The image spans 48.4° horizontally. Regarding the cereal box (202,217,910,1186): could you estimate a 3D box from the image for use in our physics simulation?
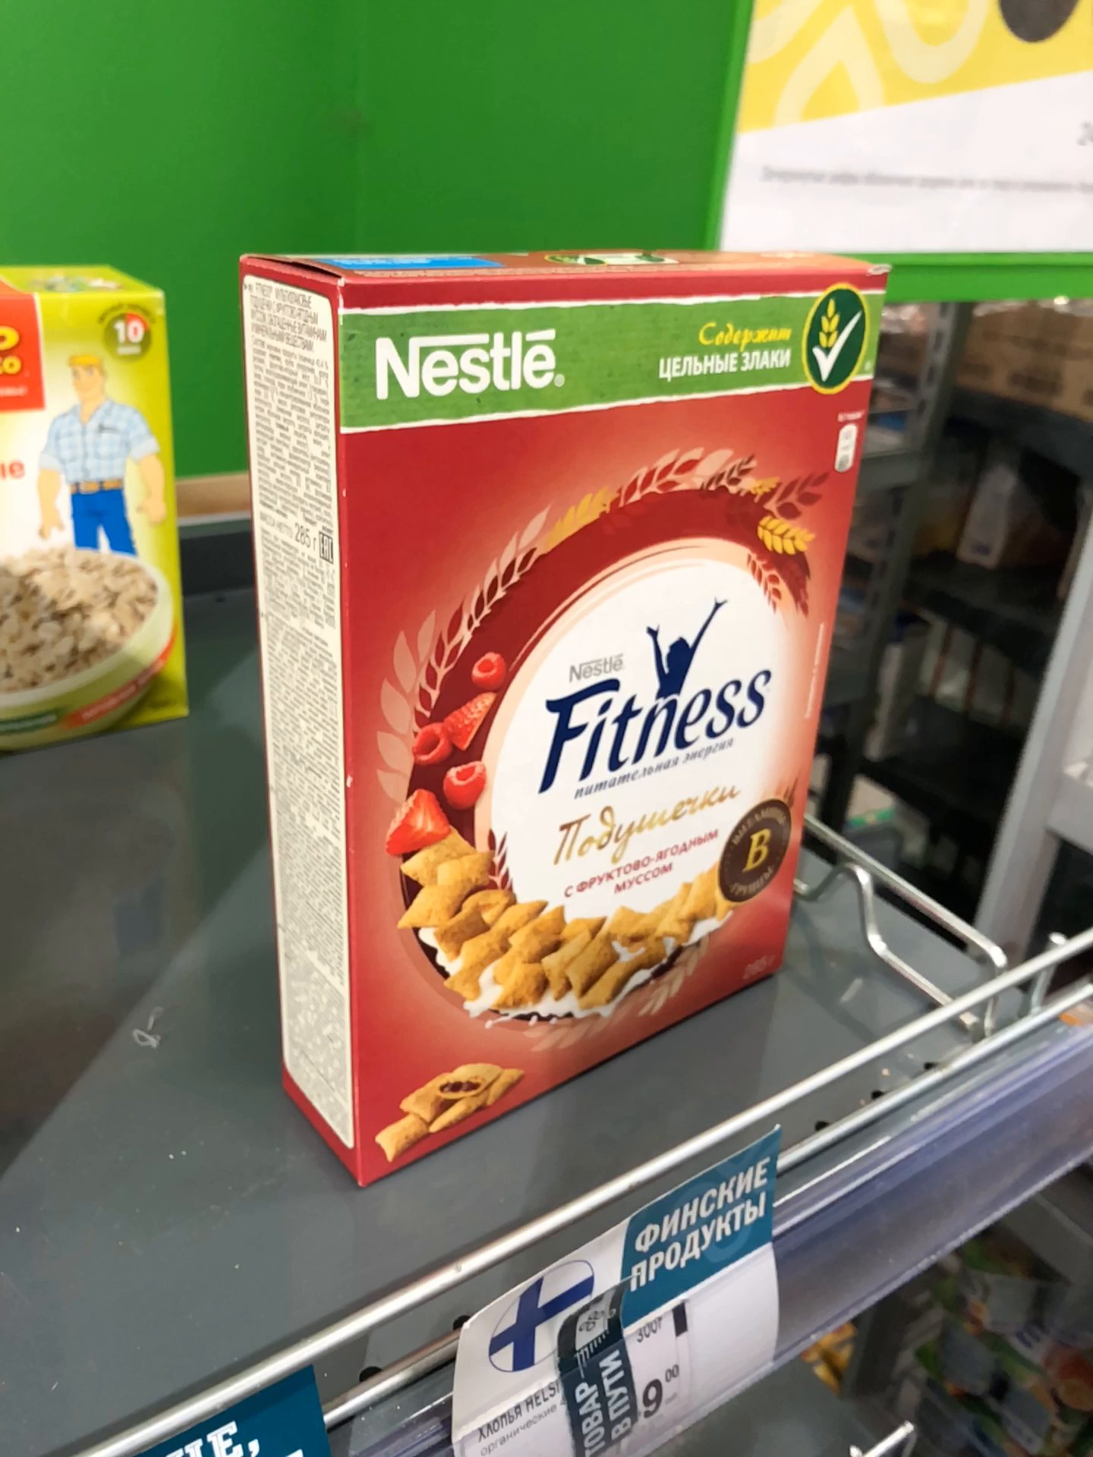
[{"bbox_3d":[0.006,-0.017,0.369,0.190,0.249,0.060,-16,31,-36],"label":"cereal box"}]
